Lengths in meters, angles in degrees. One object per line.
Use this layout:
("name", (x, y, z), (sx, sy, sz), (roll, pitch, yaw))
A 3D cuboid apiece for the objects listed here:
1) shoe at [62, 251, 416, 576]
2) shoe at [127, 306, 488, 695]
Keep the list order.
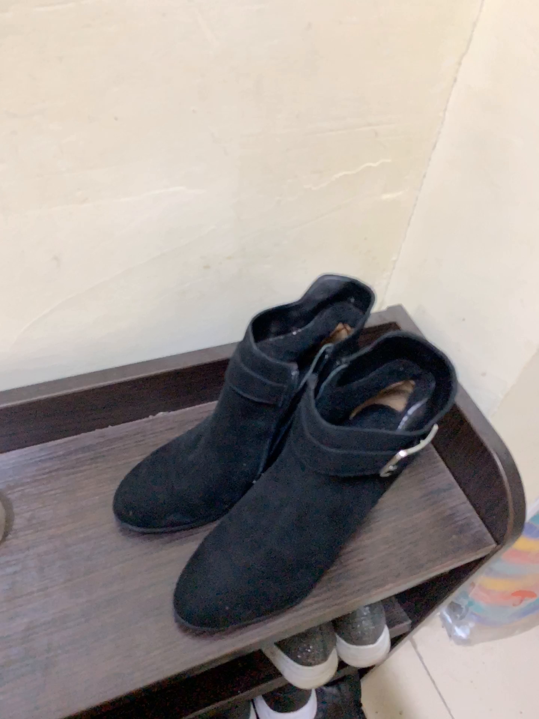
("shoe", (-0.022, 0.043, 0.455), (0.240, 0.189, 0.088), (-23, 55, -26))
("shoe", (0.028, 0.102, 0.414), (0.241, 0.189, 0.088), (-32, 59, -31))
